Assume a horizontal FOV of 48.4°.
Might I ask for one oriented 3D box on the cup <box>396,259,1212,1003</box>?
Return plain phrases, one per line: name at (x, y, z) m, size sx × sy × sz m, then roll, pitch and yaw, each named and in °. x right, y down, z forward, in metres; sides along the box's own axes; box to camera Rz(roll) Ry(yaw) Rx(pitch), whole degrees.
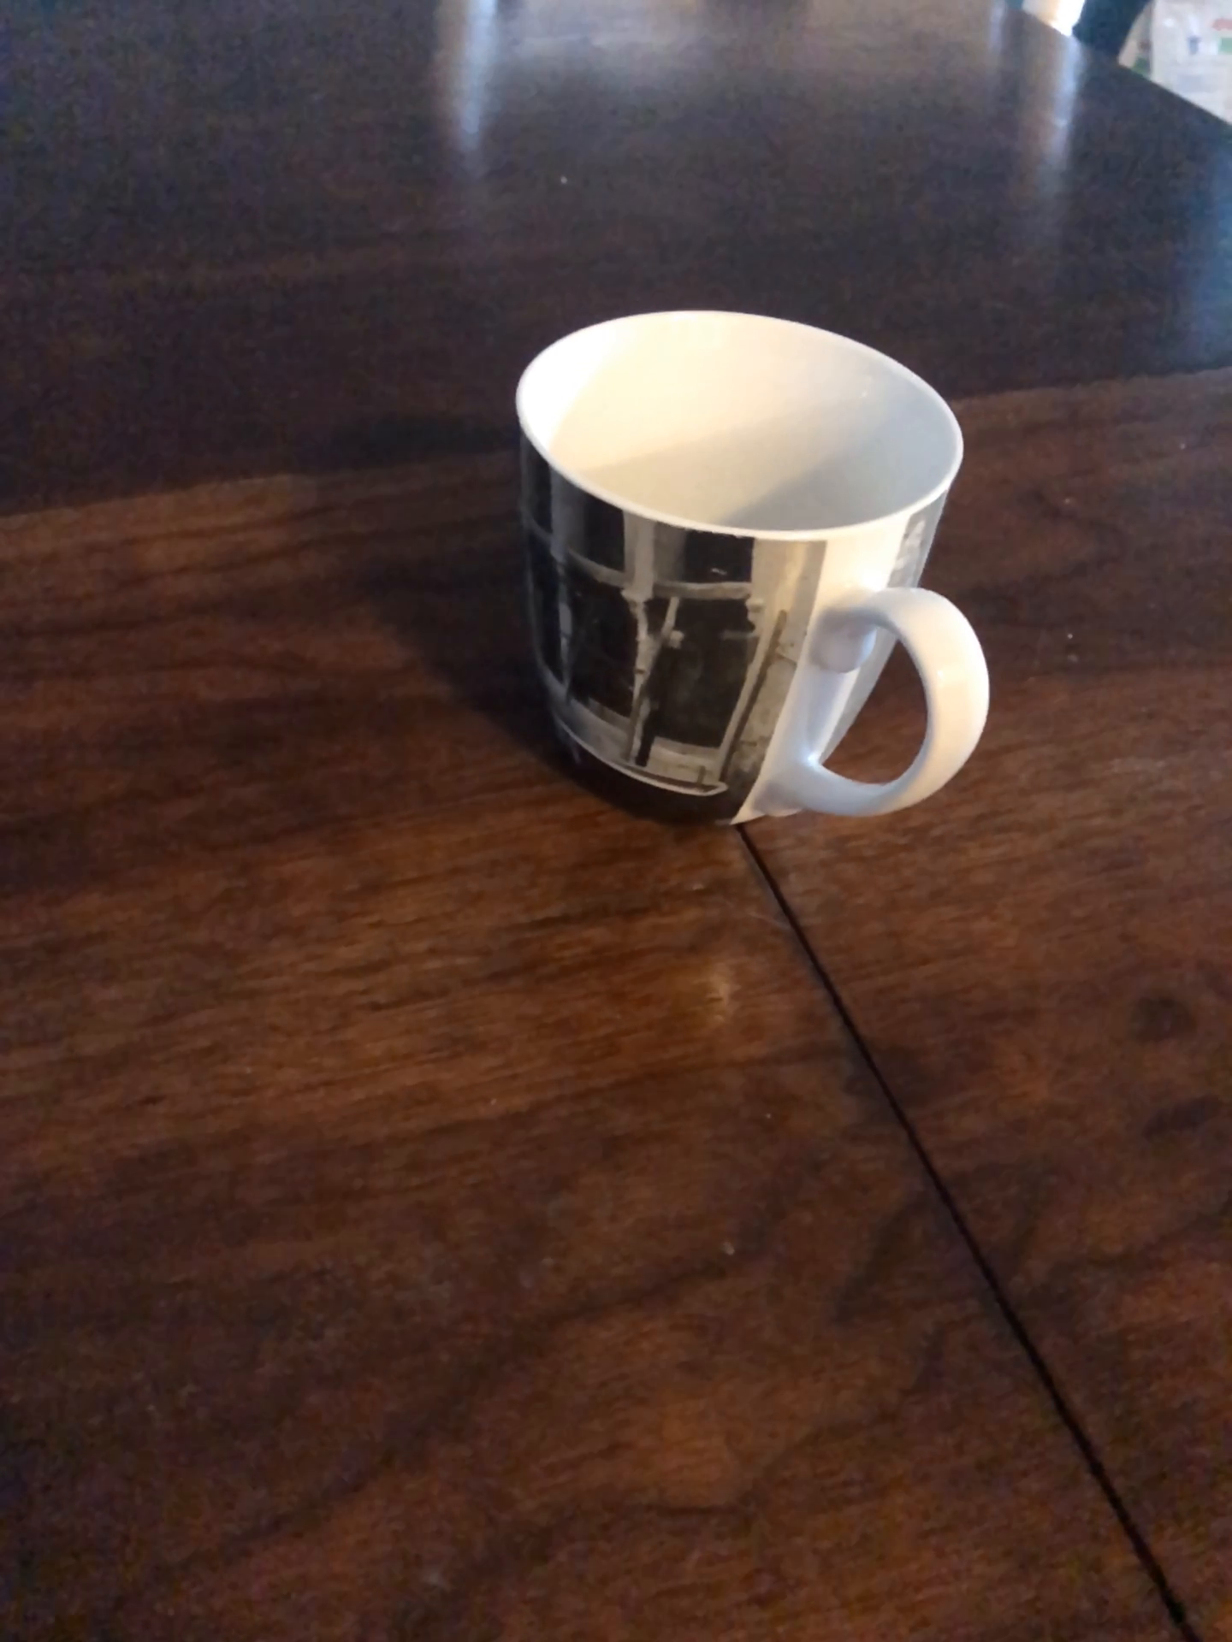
cup at (0.031, -0.052, 0.308) m, size 0.100 × 0.080 × 0.140 m, roll -24°, pitch 51°, yaw -27°
